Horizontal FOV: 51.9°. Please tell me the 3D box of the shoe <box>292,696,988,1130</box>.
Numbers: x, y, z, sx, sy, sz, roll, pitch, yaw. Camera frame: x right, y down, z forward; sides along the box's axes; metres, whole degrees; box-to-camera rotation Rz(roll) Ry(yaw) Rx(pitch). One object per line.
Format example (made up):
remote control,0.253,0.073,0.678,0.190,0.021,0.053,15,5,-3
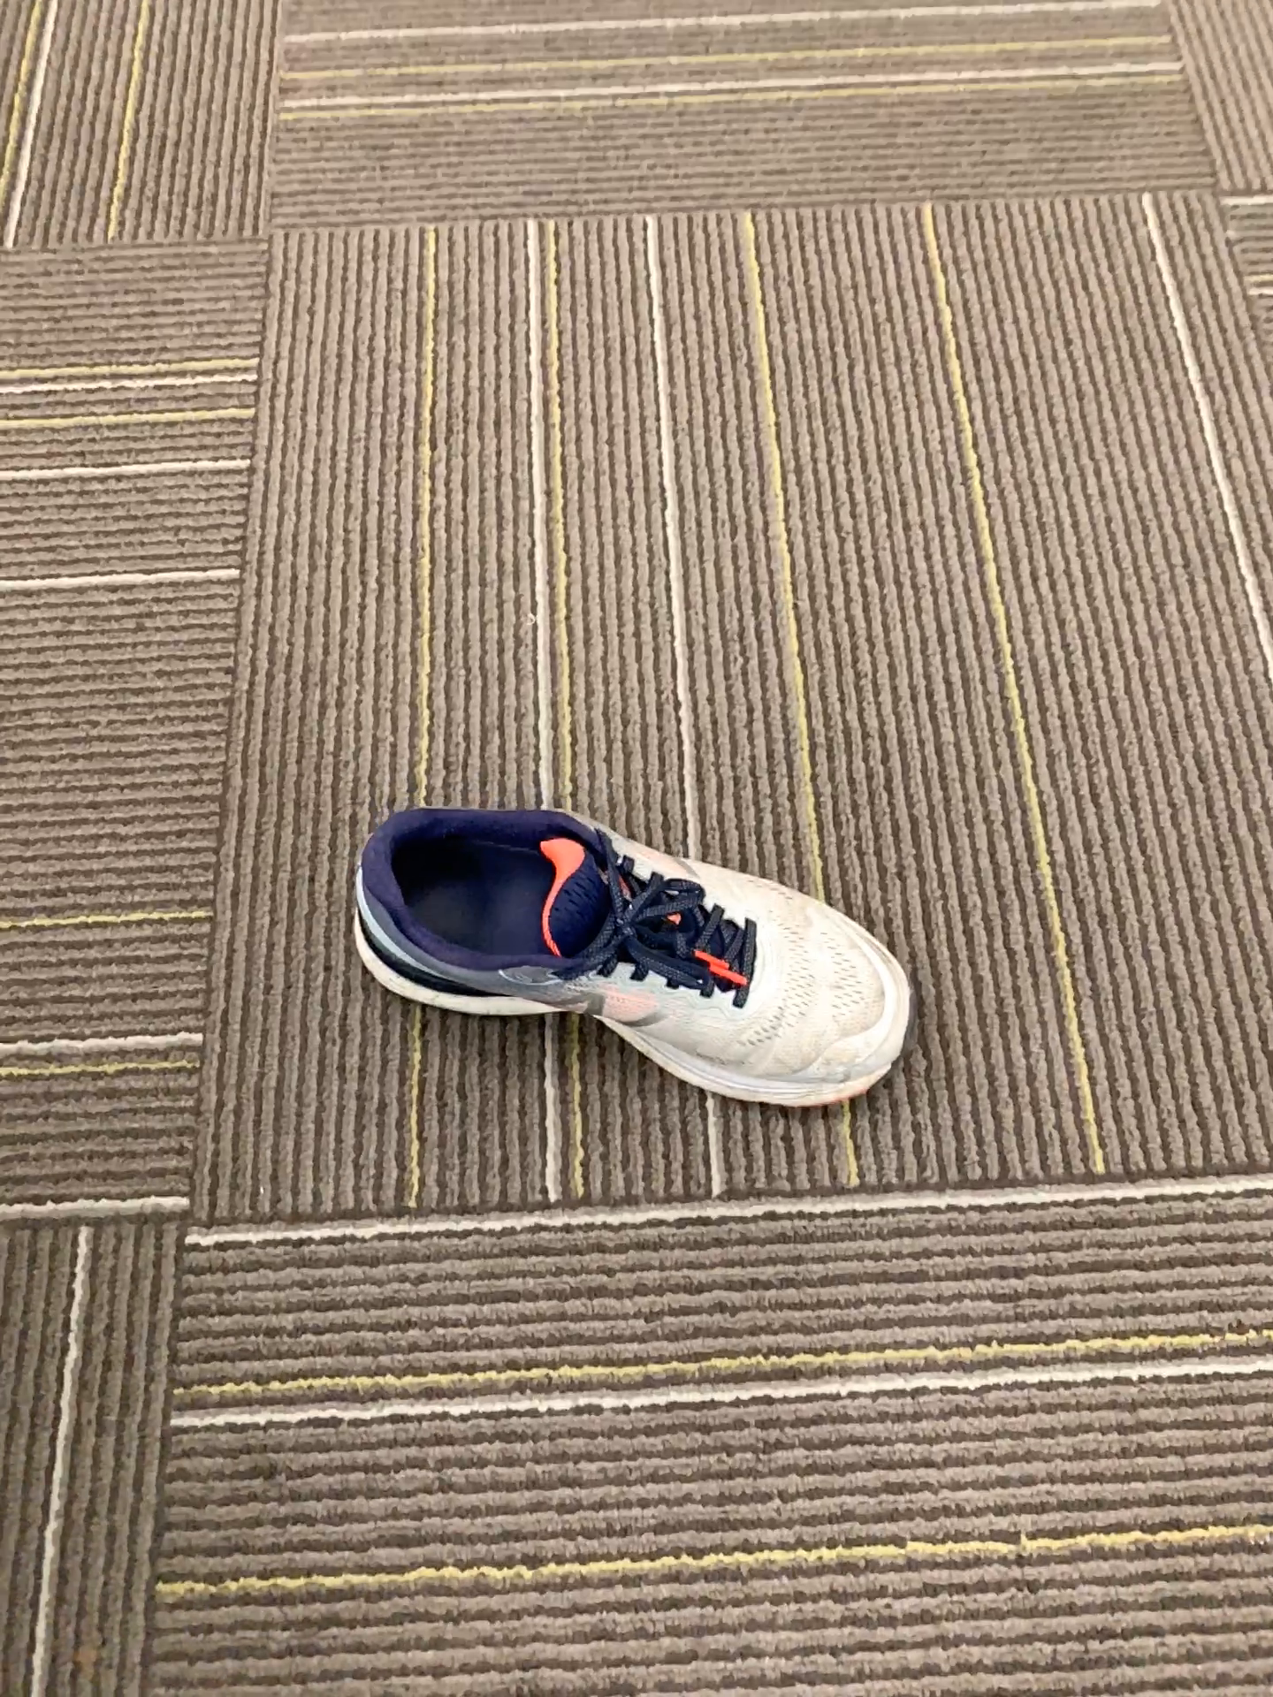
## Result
shoe,0.004,0.032,0.576,0.260,0.120,0.110,11,68,5
